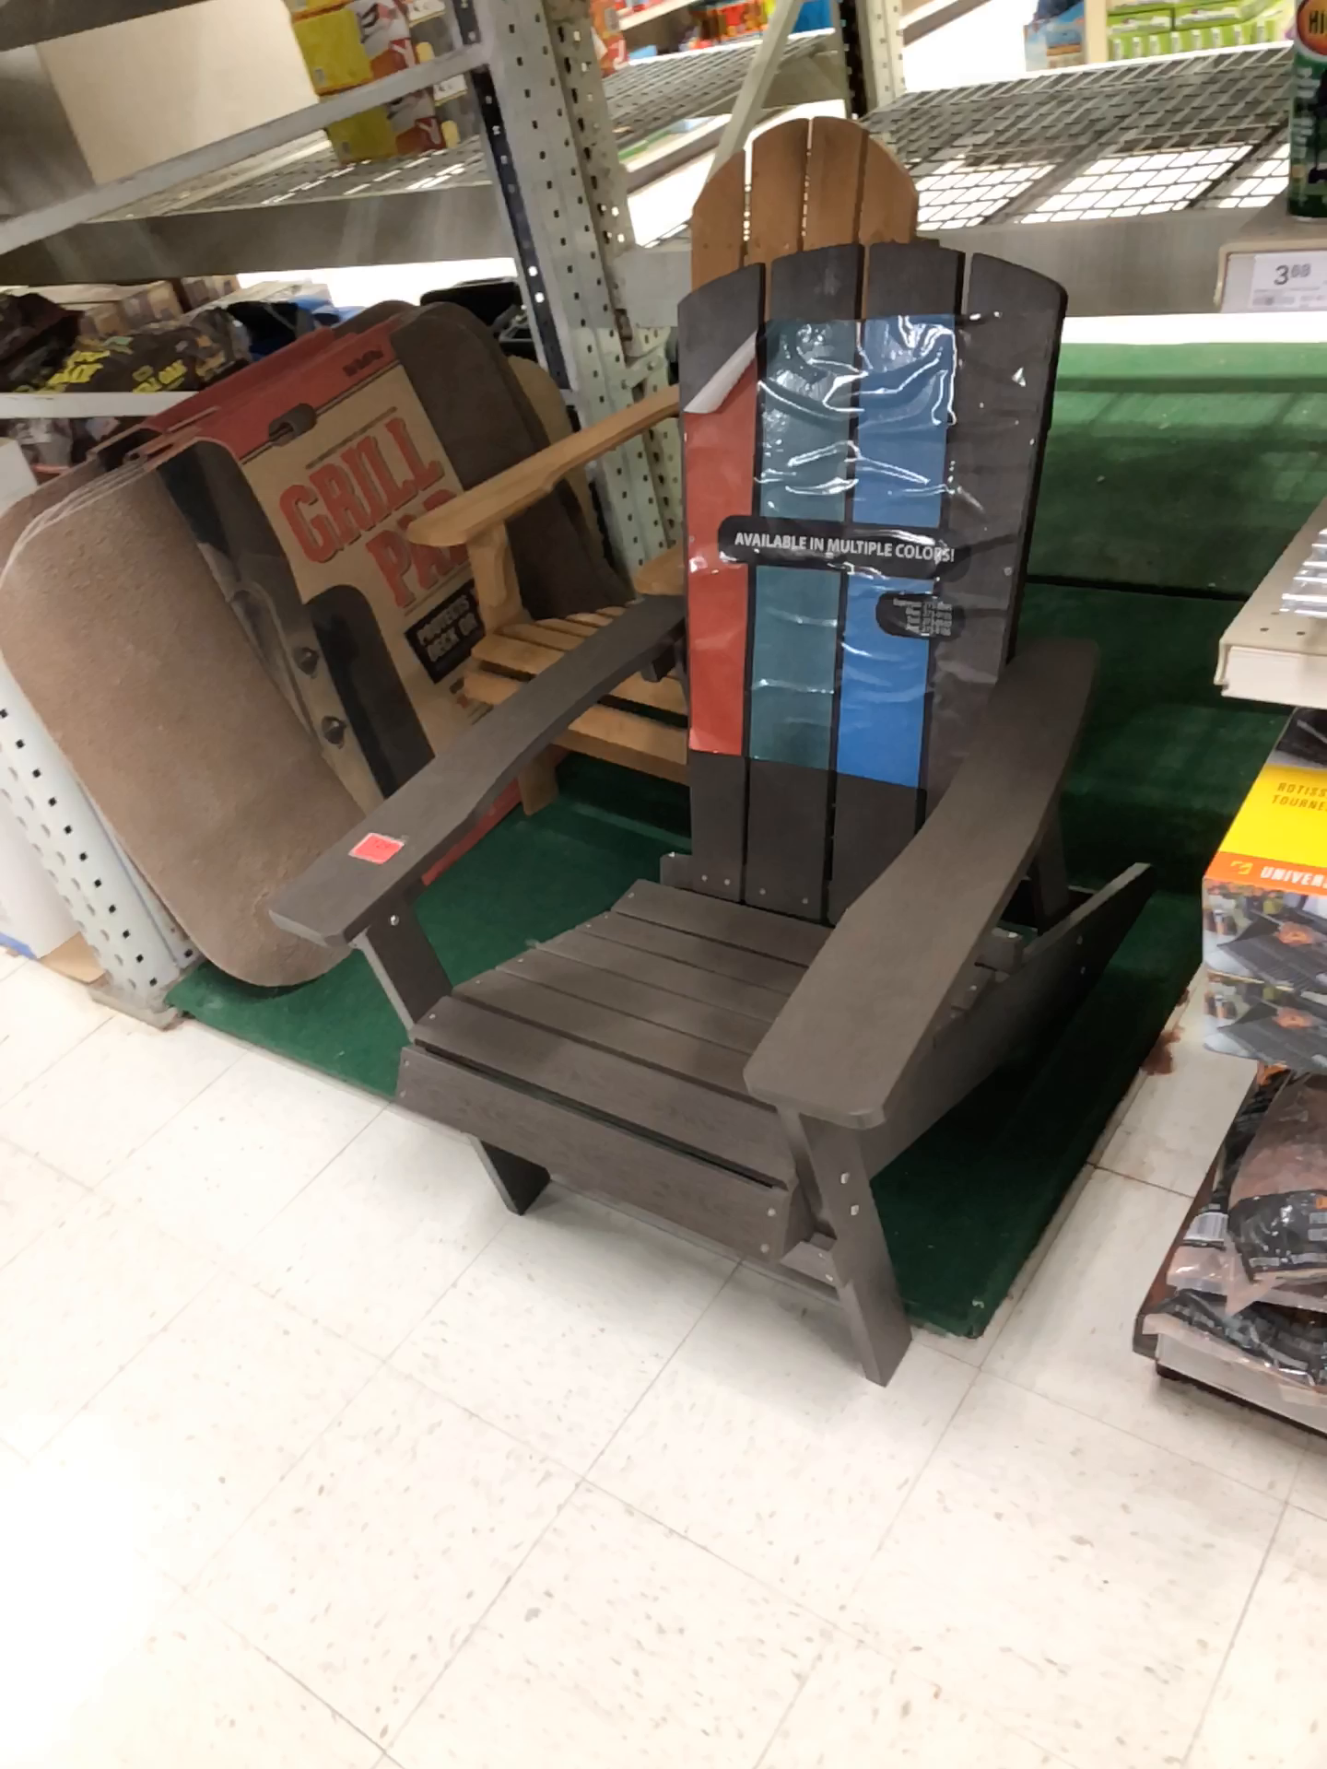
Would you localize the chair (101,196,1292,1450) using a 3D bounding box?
[{"bbox_3d":[0.140,-0.145,1.573,0.719,0.816,0.917,15,46,35],"label":"chair"}]

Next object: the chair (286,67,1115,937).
[{"bbox_3d":[0.140,-0.620,2.228,0.639,0.846,0.977,20,49,39],"label":"chair"}]
